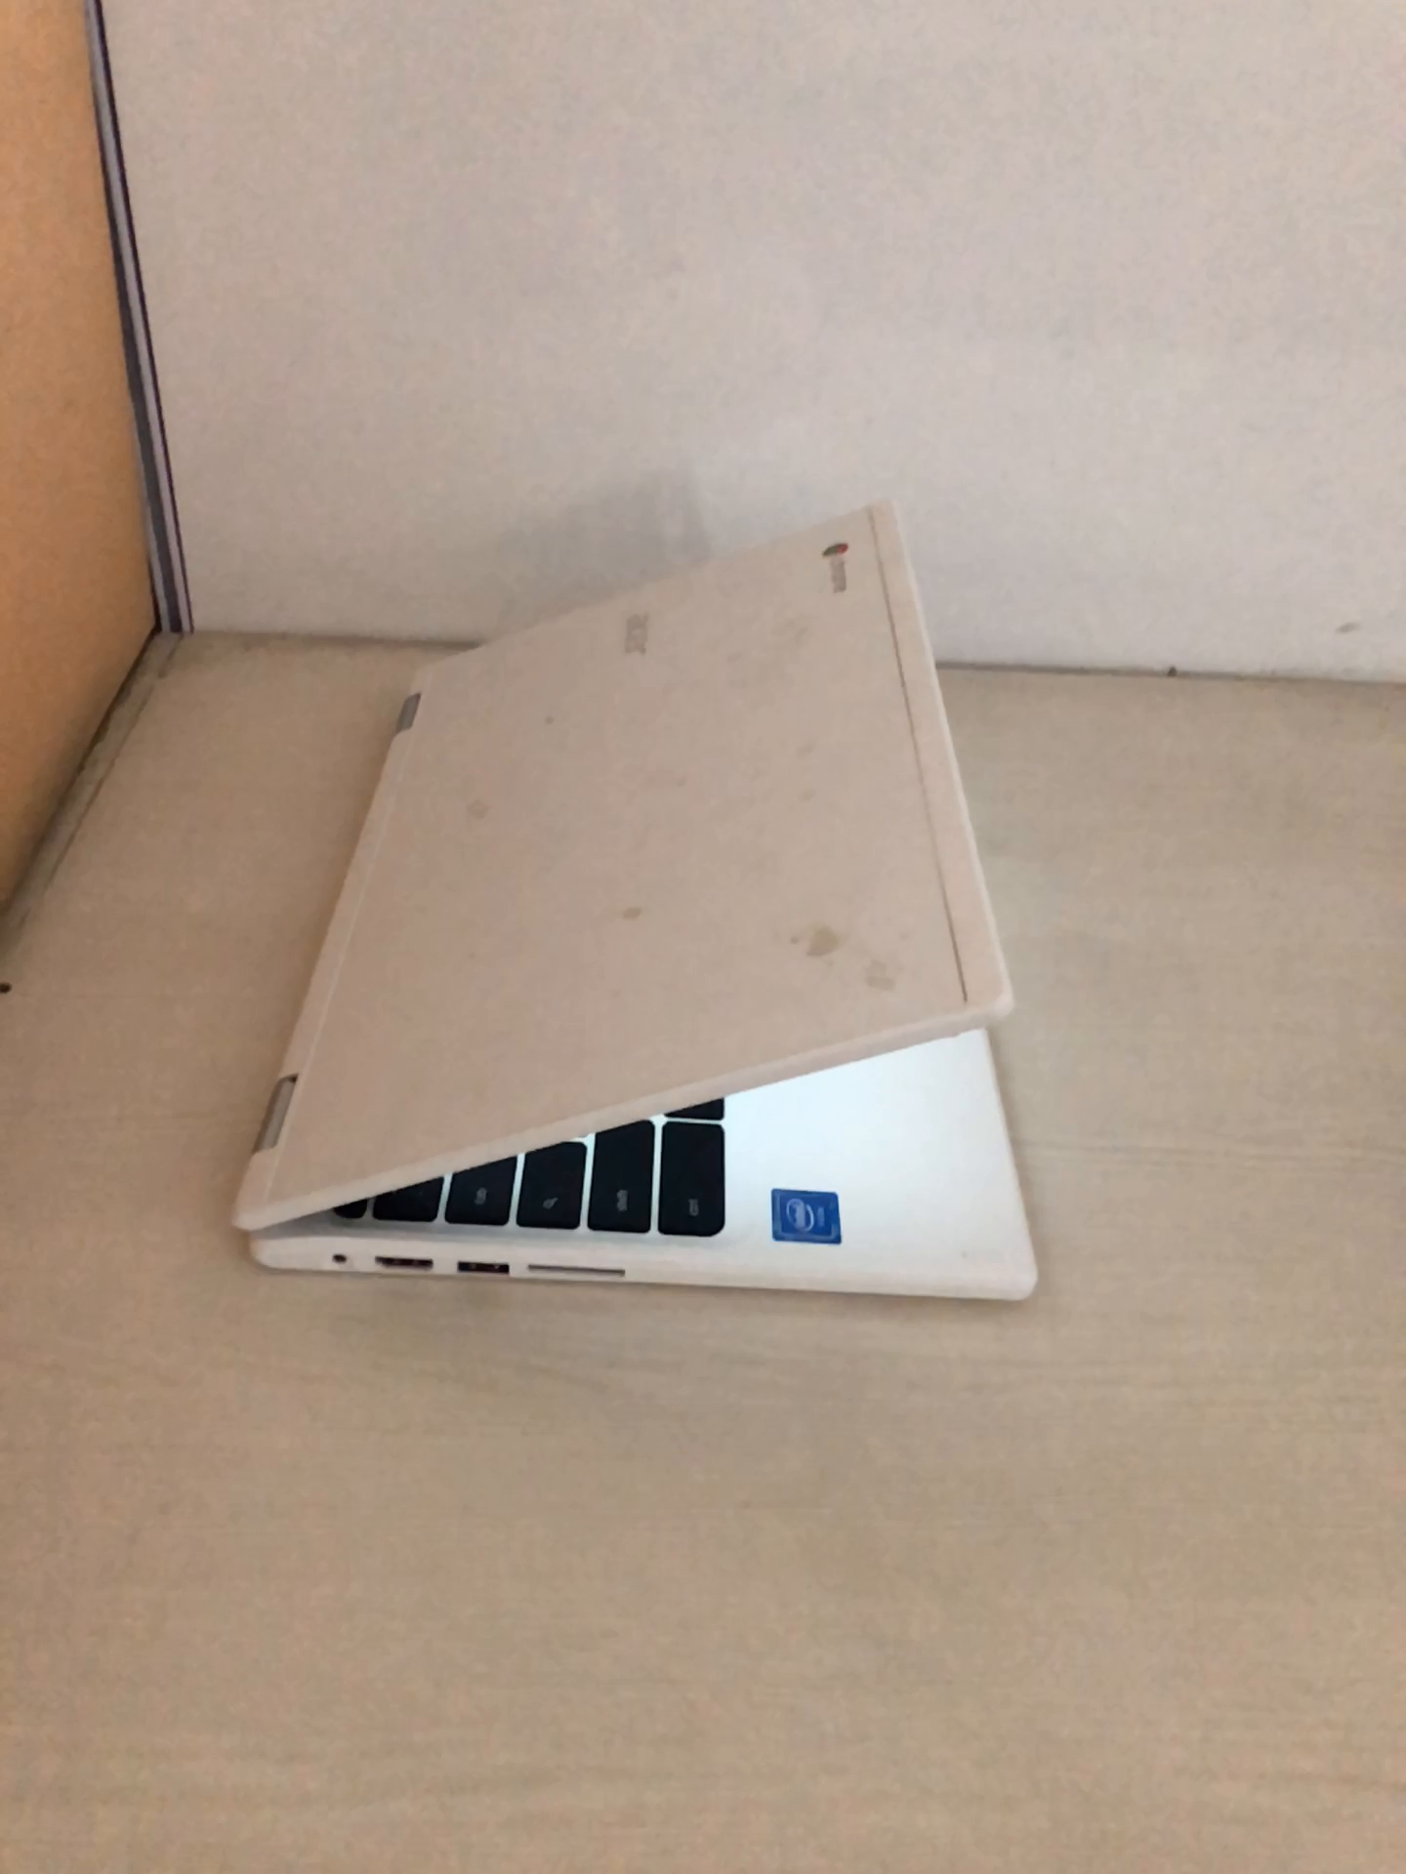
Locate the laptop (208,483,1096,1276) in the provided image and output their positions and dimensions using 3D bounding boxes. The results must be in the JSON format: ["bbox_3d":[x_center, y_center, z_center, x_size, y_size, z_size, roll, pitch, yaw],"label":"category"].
[{"bbox_3d":[-0.012,-0.040,0.488,0.200,0.092,0.284,2,38,-1],"label":"laptop"}]
